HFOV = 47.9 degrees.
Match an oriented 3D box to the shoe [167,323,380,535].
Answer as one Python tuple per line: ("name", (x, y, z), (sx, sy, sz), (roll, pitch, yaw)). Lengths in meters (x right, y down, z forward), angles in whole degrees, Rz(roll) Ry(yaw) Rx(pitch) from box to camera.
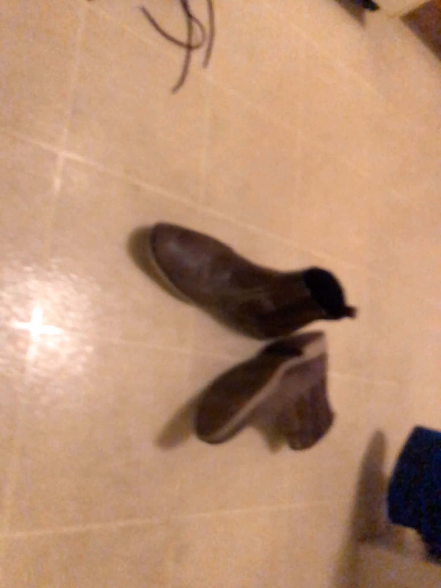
("shoe", (0.096, 0.179, 0.752), (0.314, 0.111, 0.161), (-26, 101, -41))

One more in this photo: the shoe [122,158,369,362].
("shoe", (0.047, -0.024, 0.708), (0.314, 0.161, 0.111), (37, 61, -31))
